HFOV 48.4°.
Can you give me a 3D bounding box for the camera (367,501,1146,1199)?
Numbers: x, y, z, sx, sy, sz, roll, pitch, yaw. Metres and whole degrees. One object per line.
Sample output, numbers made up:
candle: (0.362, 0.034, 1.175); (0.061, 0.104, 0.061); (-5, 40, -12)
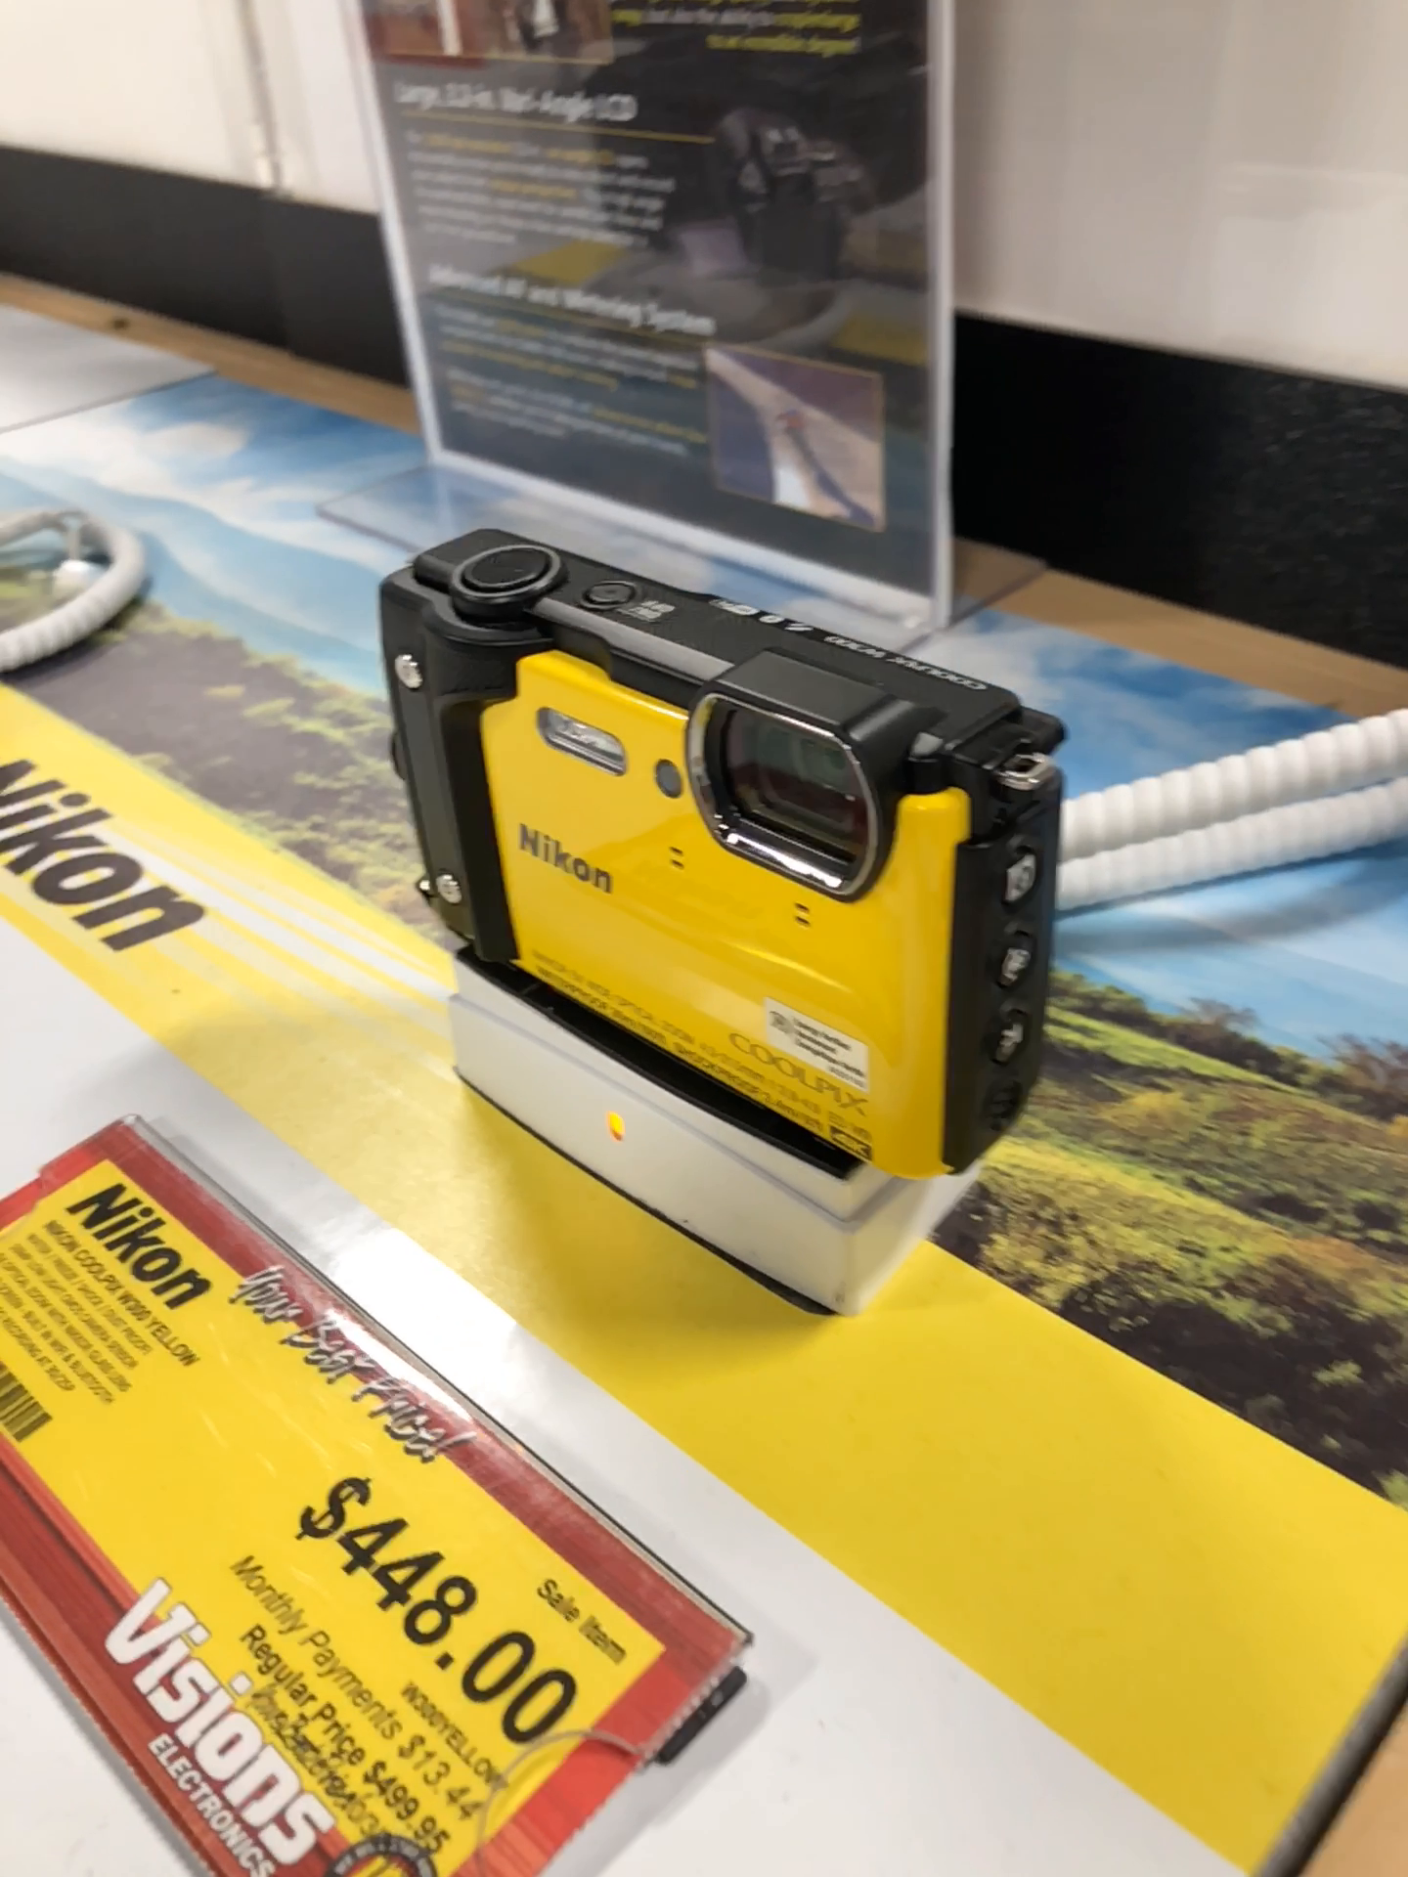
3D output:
camera: (0.003, -0.018, 0.222); (0.110, 0.060, 0.030); (26, 44, 36)
